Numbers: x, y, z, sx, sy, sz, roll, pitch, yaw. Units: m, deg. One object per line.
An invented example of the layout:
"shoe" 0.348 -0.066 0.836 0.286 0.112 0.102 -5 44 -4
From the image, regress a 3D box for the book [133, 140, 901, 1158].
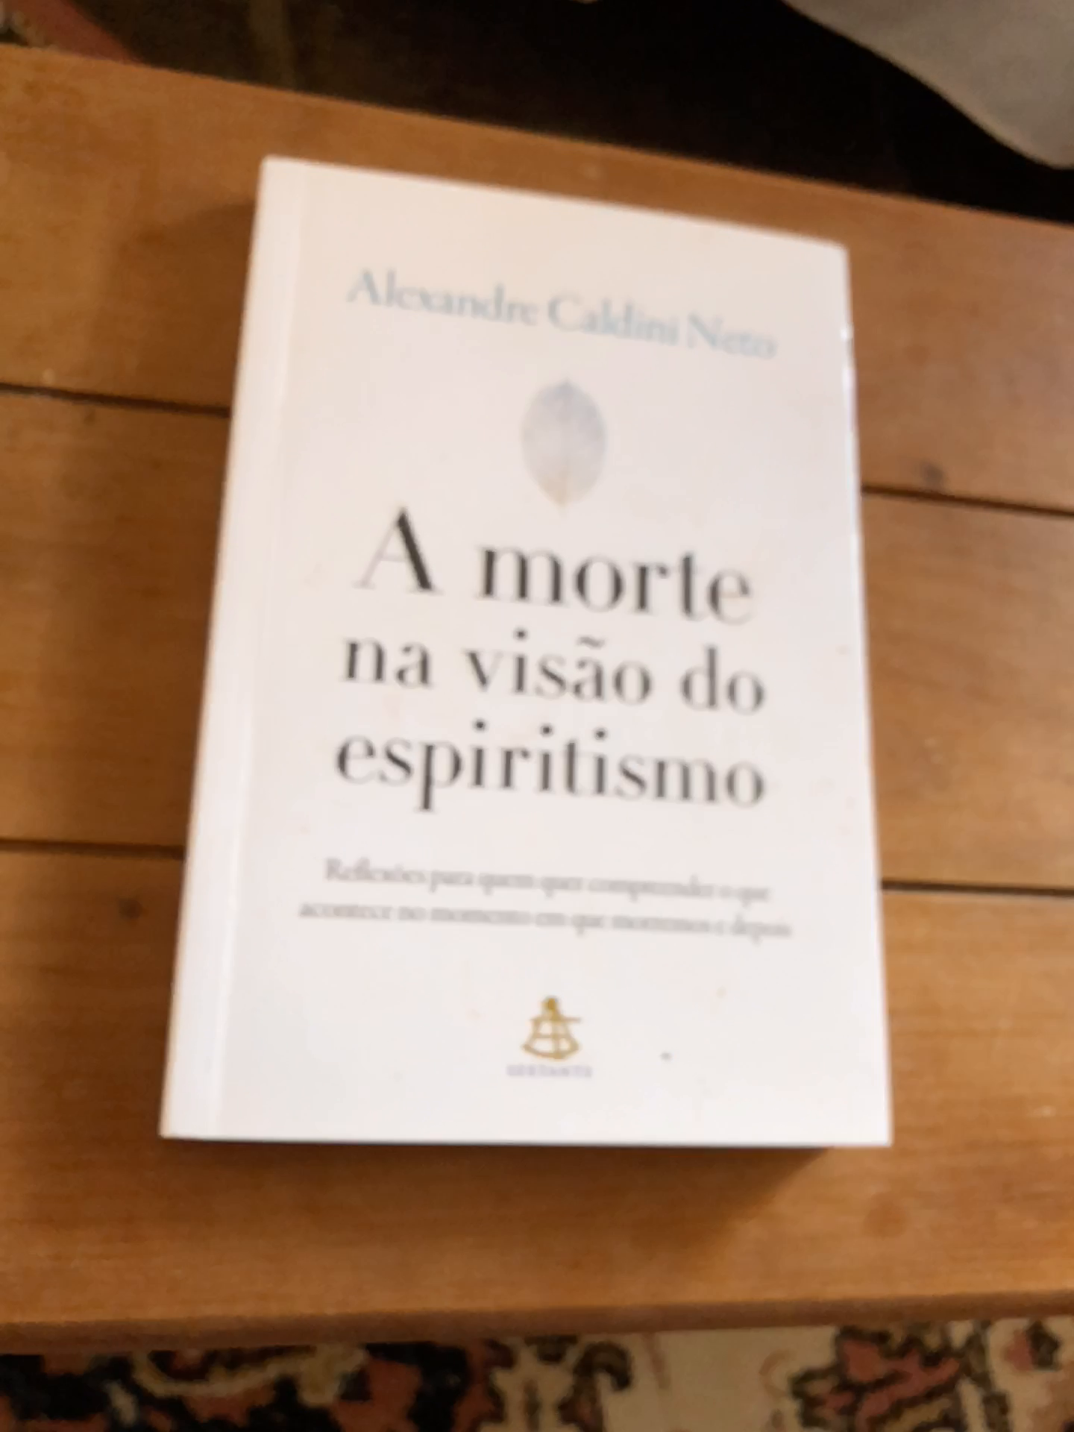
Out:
"book" 0.002 -0.016 0.247 0.136 0.020 0.196 5 74 -10
